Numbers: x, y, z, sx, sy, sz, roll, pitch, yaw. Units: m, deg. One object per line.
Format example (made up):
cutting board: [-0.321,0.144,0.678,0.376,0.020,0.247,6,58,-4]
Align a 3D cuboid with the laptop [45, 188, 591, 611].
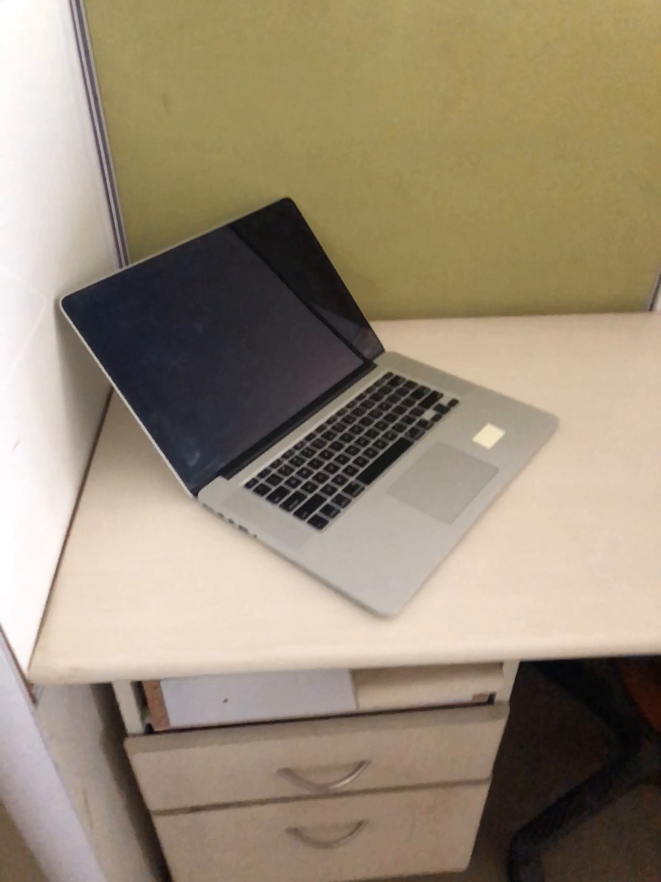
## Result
laptop: [-0.006,-0.086,0.757,0.404,0.163,0.346,27,45,27]
